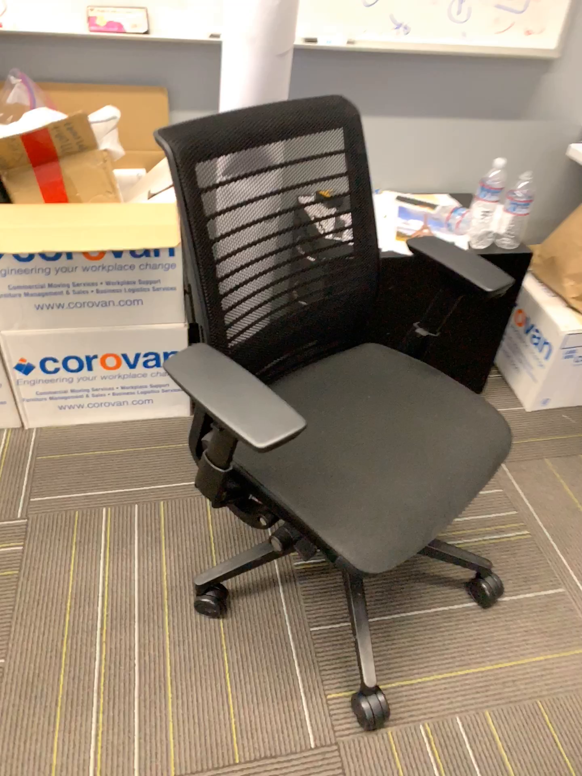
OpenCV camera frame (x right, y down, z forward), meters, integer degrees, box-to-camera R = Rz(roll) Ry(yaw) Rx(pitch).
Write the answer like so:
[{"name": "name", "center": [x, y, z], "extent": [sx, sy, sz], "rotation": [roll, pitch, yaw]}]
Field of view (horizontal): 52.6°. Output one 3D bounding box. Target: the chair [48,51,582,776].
[{"name": "chair", "center": [0.138, 0.010, 1.058], "extent": [0.682, 0.914, 0.662], "rotation": [32, 46, 28]}]
